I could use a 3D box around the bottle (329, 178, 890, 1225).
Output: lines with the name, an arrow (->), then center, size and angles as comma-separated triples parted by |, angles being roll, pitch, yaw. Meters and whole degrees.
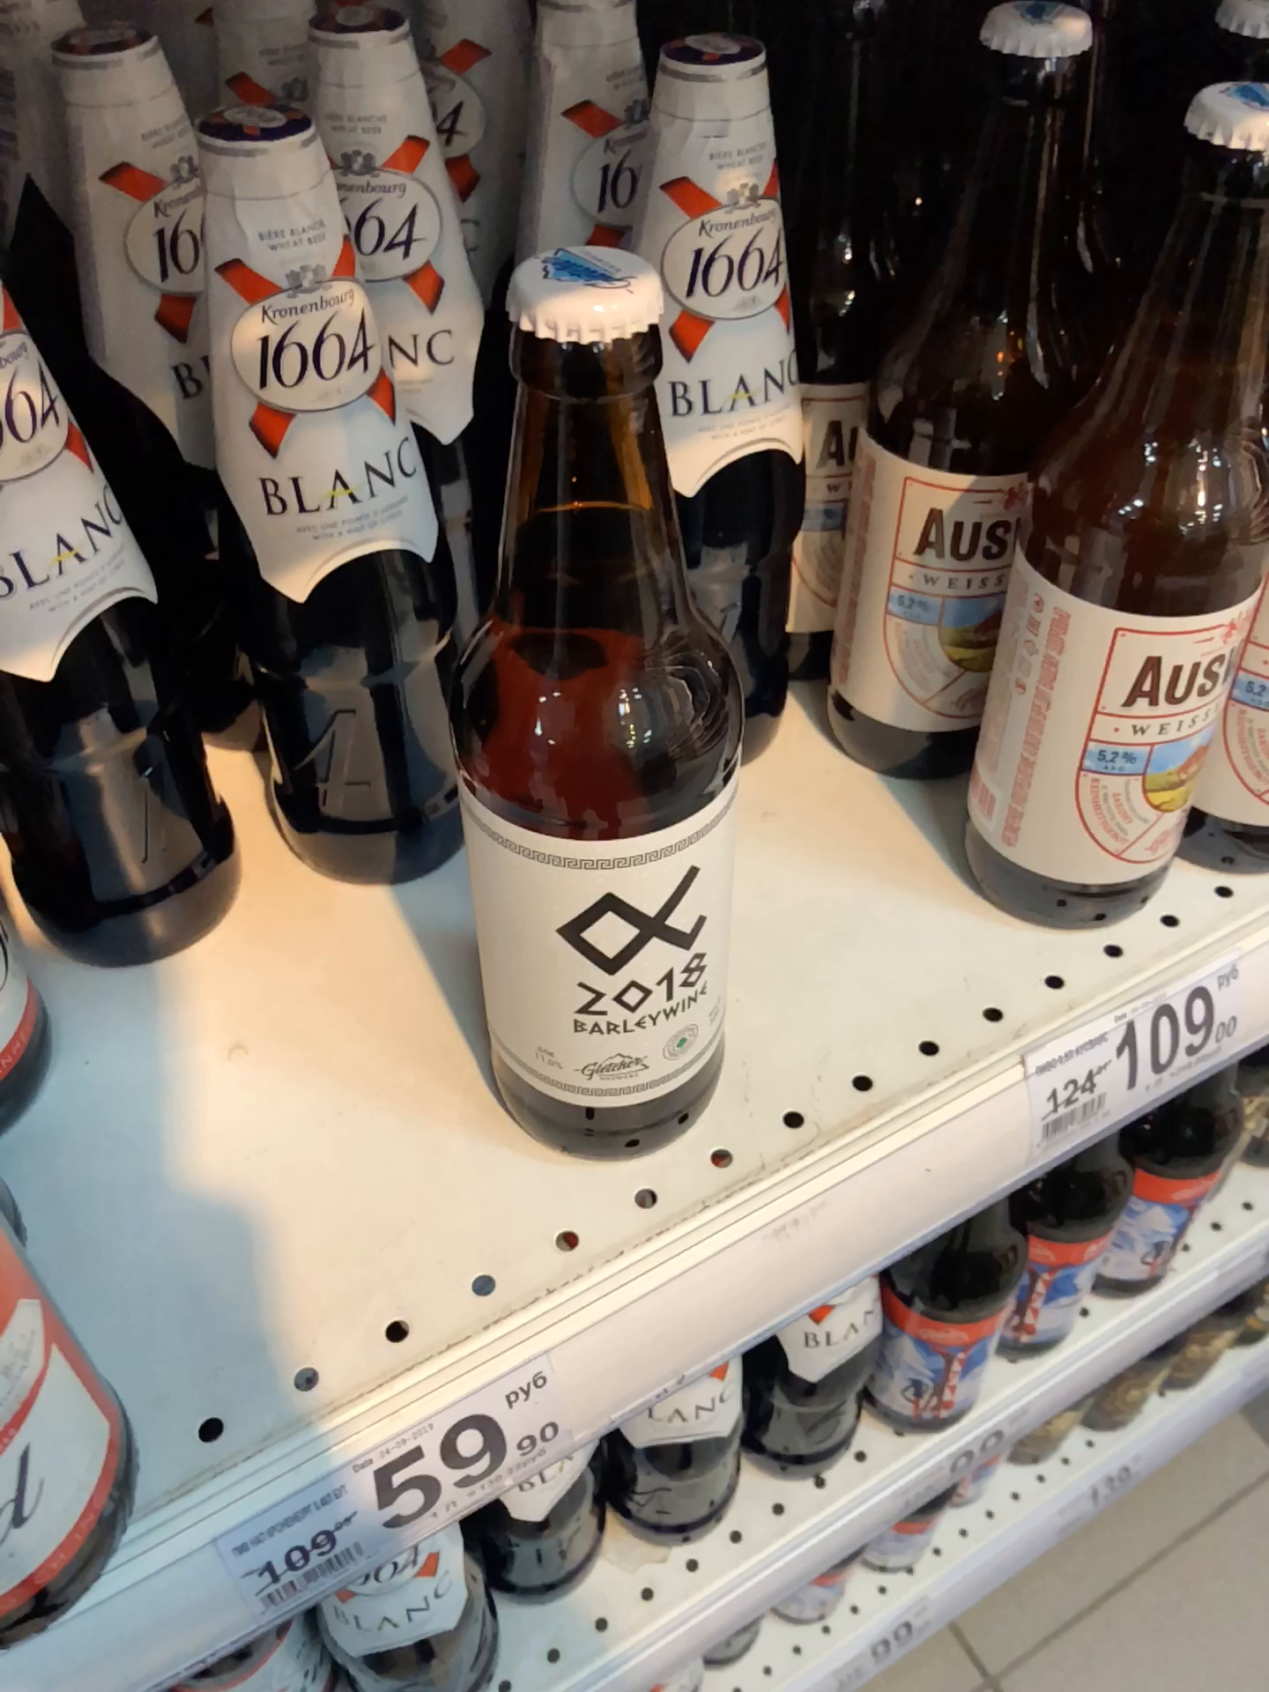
bottle -> -0.006, -0.014, 0.343 | 0.080, 0.252, 0.070 | -17, 49, -16
